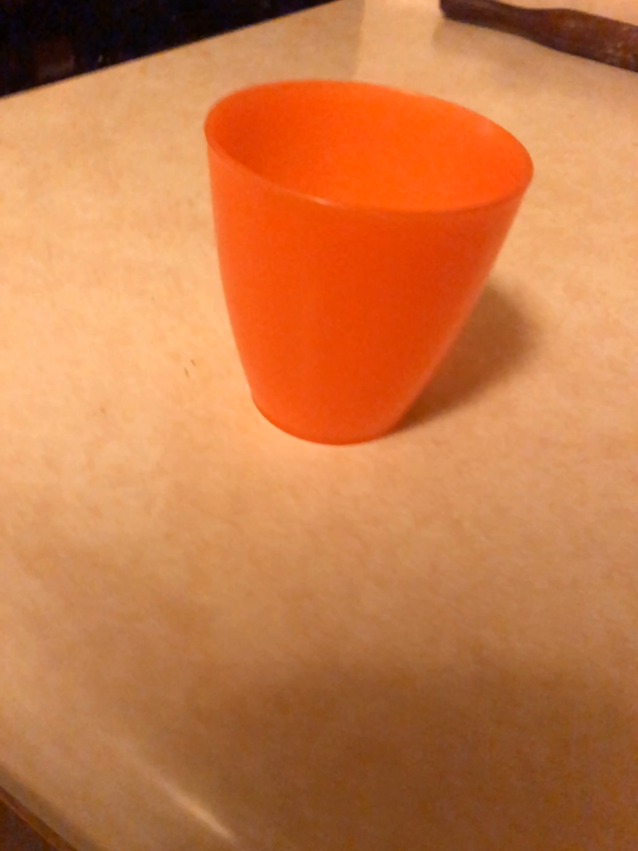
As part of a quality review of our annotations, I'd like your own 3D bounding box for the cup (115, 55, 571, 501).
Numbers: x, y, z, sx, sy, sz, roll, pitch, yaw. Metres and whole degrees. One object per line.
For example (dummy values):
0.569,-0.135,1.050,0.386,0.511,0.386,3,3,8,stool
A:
0.006,-0.045,0.193,0.080,0.070,0.080,5,42,-4,cup
